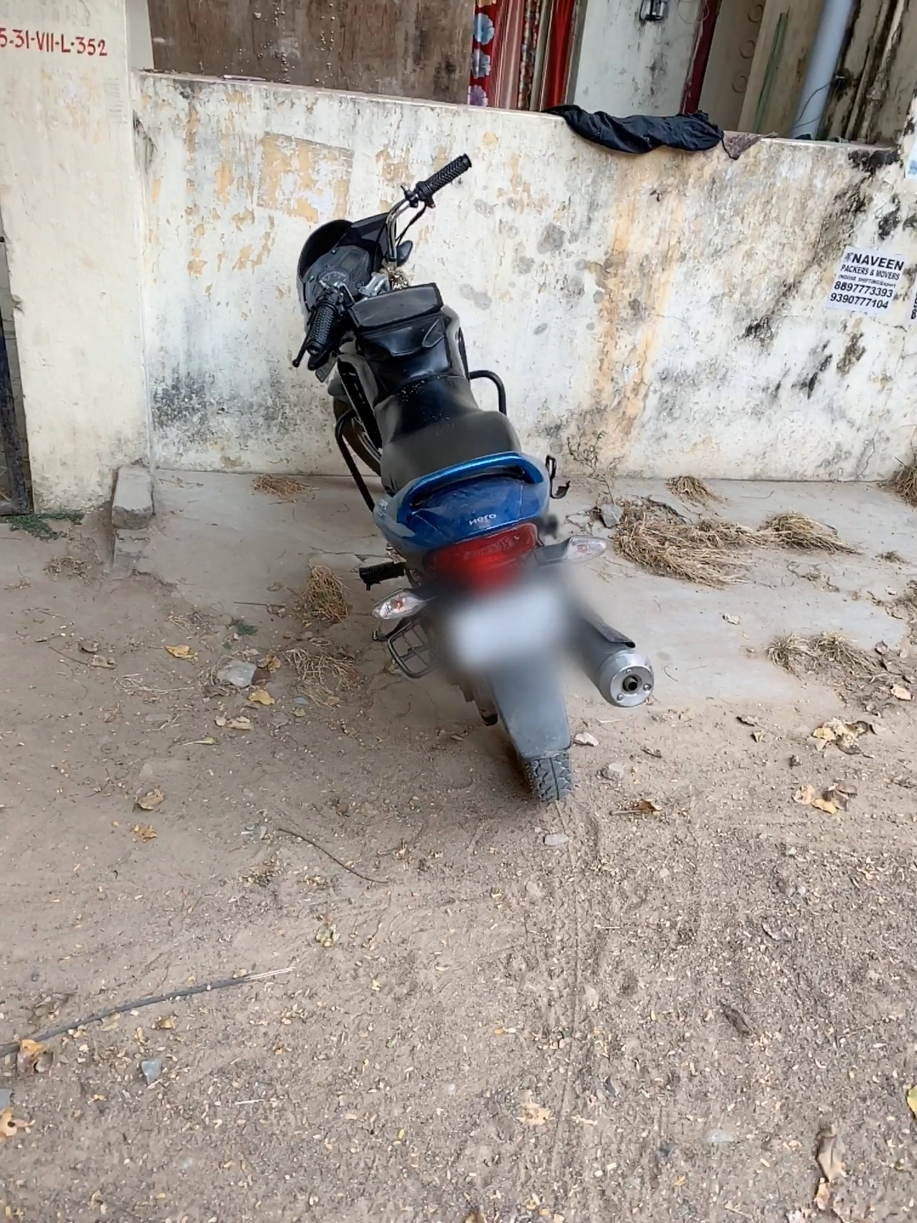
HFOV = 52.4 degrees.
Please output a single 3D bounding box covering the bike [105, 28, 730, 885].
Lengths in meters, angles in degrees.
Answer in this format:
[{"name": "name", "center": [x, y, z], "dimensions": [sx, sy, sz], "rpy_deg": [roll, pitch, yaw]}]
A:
[{"name": "bike", "center": [-0.331, -0.513, 2.229], "dimensions": [0.754, 1.233, 1.711], "rpy_deg": [-5, 35, -21]}]
